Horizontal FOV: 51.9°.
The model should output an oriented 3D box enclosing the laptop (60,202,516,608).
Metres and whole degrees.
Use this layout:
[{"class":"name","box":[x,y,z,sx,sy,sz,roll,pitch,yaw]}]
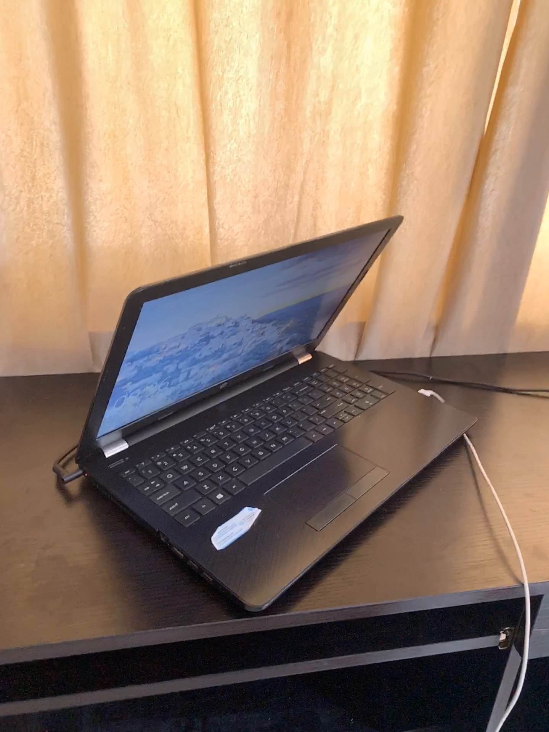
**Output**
[{"class":"laptop","box":[0.028,-0.012,0.564,0.238,0.201,0.363,25,36,37]}]
